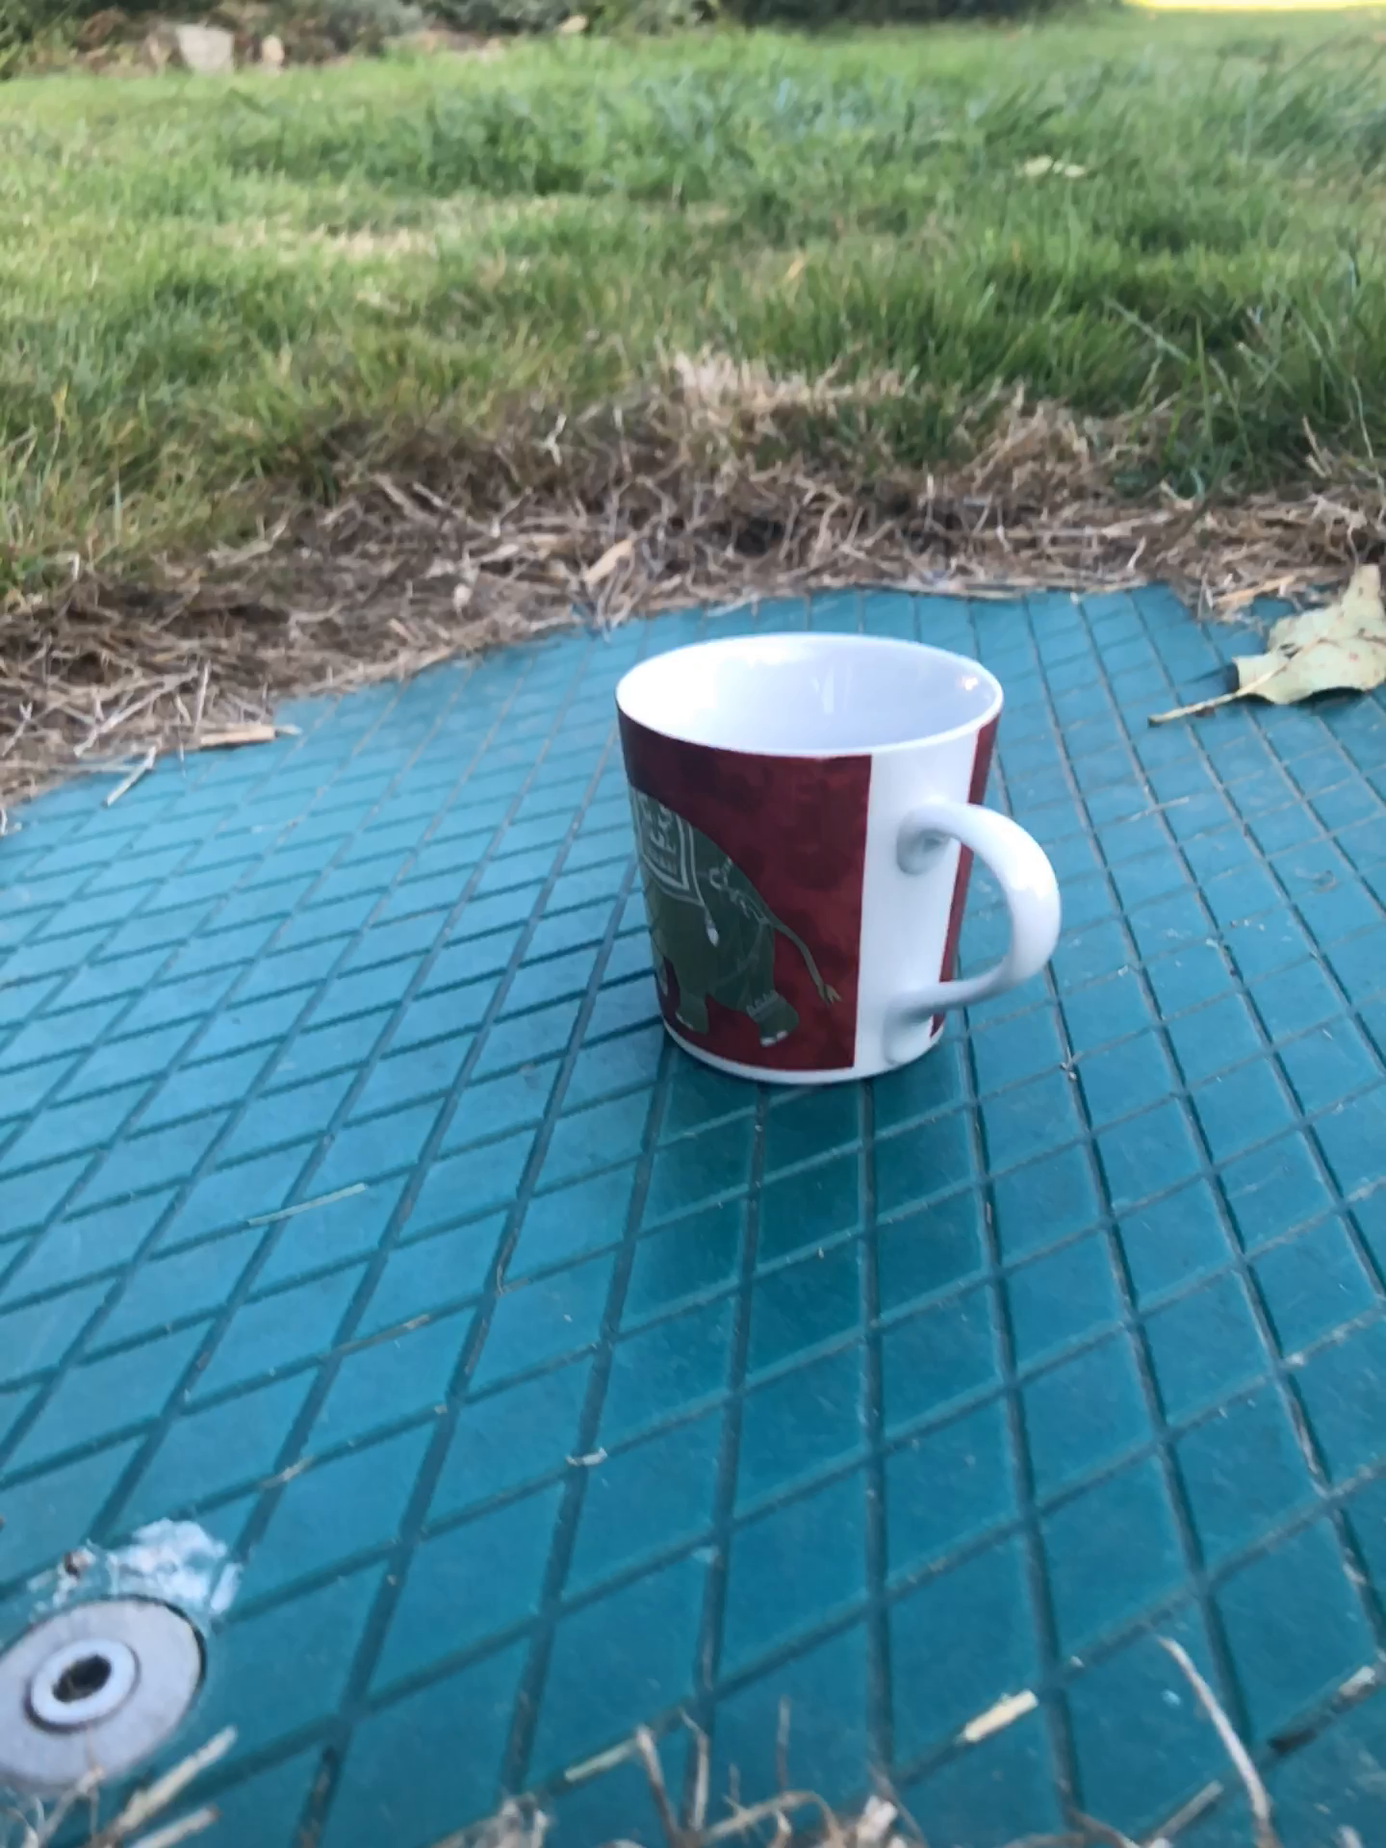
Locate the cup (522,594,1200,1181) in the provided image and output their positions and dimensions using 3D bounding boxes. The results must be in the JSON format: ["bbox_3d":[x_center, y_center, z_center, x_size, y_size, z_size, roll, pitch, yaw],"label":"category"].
[{"bbox_3d":[0.030,-0.016,0.317,0.082,0.070,0.110,-18,30,-30],"label":"cup"}]
